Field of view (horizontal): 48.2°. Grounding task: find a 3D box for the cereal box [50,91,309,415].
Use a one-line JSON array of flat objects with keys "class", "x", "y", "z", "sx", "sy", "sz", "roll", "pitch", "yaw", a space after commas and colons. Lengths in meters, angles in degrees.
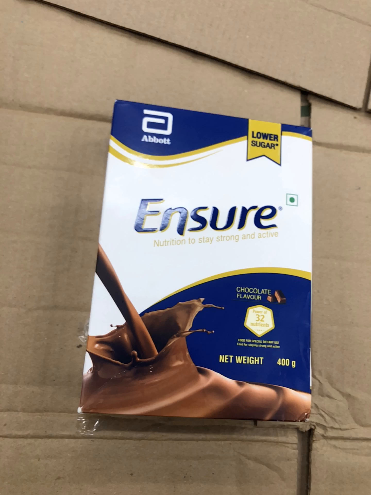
[{"class": "cereal box", "x": 0.002, "y": 0.004, "z": 0.266, "sx": 0.140, "sy": 0.050, "sz": 0.180, "roll": 5, "pitch": 77, "yaw": -8}]
